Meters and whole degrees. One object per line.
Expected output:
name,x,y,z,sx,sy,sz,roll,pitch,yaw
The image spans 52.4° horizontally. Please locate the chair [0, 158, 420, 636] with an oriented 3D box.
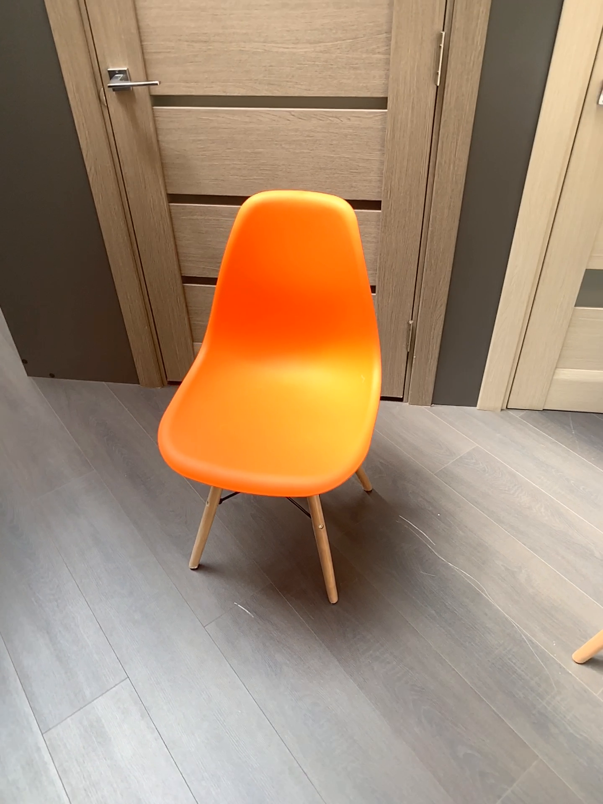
chair,-0.094,-0.017,1.220,0.530,0.717,0.522,8,41,12
